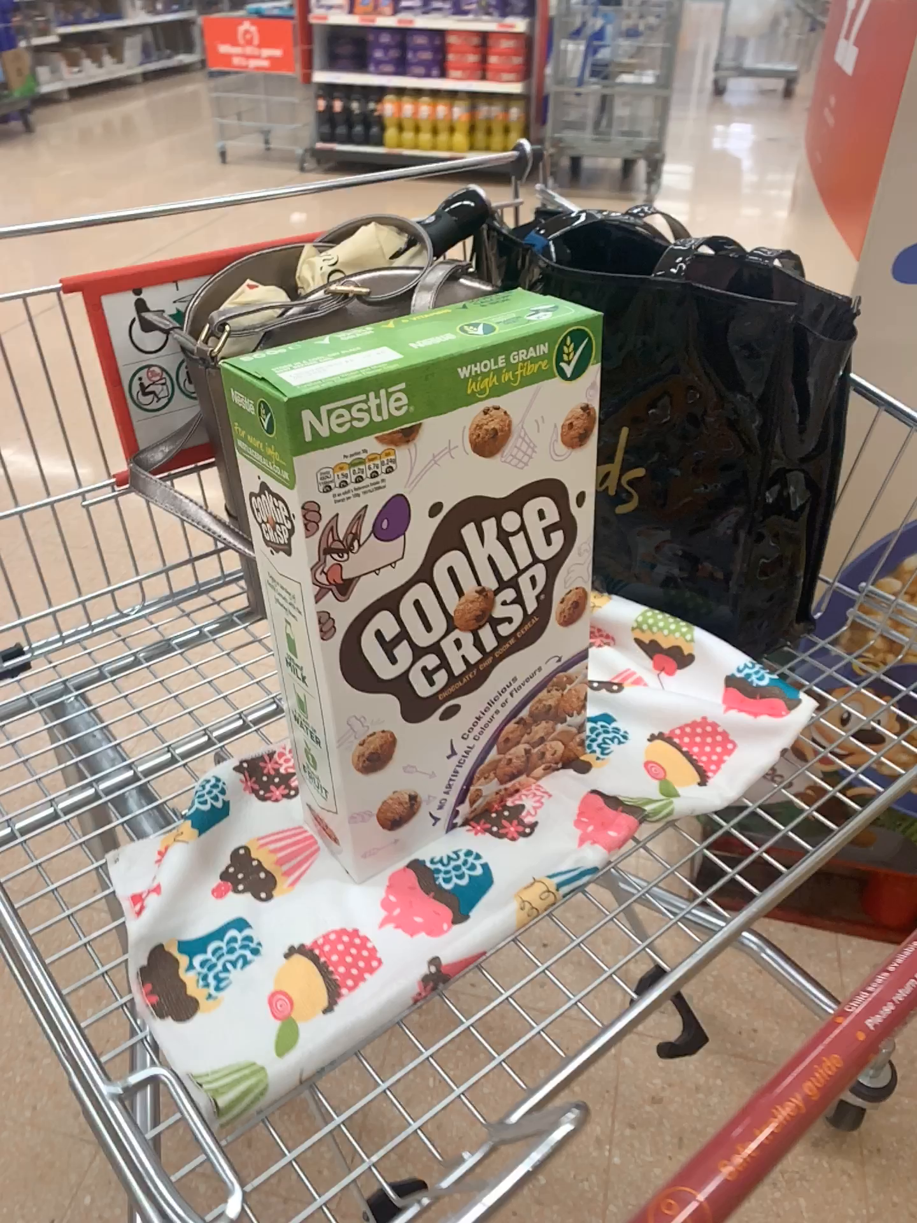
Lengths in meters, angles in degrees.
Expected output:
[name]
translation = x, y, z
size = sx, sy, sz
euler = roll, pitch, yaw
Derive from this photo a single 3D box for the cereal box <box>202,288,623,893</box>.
[cereal box]
translation = -0.012, -0.014, 0.569
size = 0.221, 0.307, 0.070
euler = -23, 36, -31
